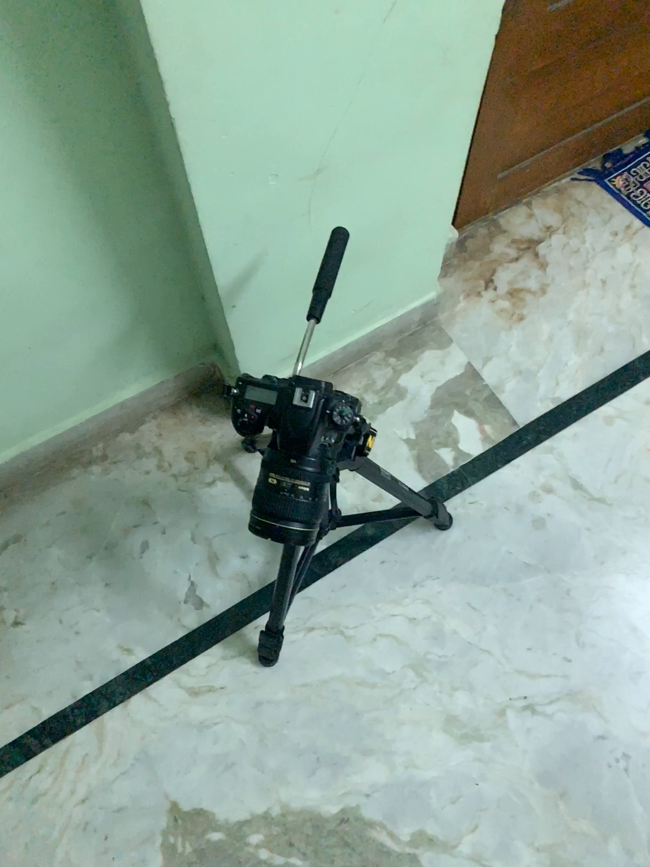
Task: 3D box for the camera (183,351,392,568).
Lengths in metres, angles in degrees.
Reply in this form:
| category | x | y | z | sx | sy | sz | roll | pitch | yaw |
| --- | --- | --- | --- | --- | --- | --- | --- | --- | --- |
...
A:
| category | x | y | z | sx | sy | sz | roll | pitch | yaw |
| --- | --- | --- | --- | --- | --- | --- | --- | --- | --- |
| camera | -0.034 | 0.025 | 0.713 | 0.170 | 0.110 | 0.180 | 14 | 92 | 7 |
